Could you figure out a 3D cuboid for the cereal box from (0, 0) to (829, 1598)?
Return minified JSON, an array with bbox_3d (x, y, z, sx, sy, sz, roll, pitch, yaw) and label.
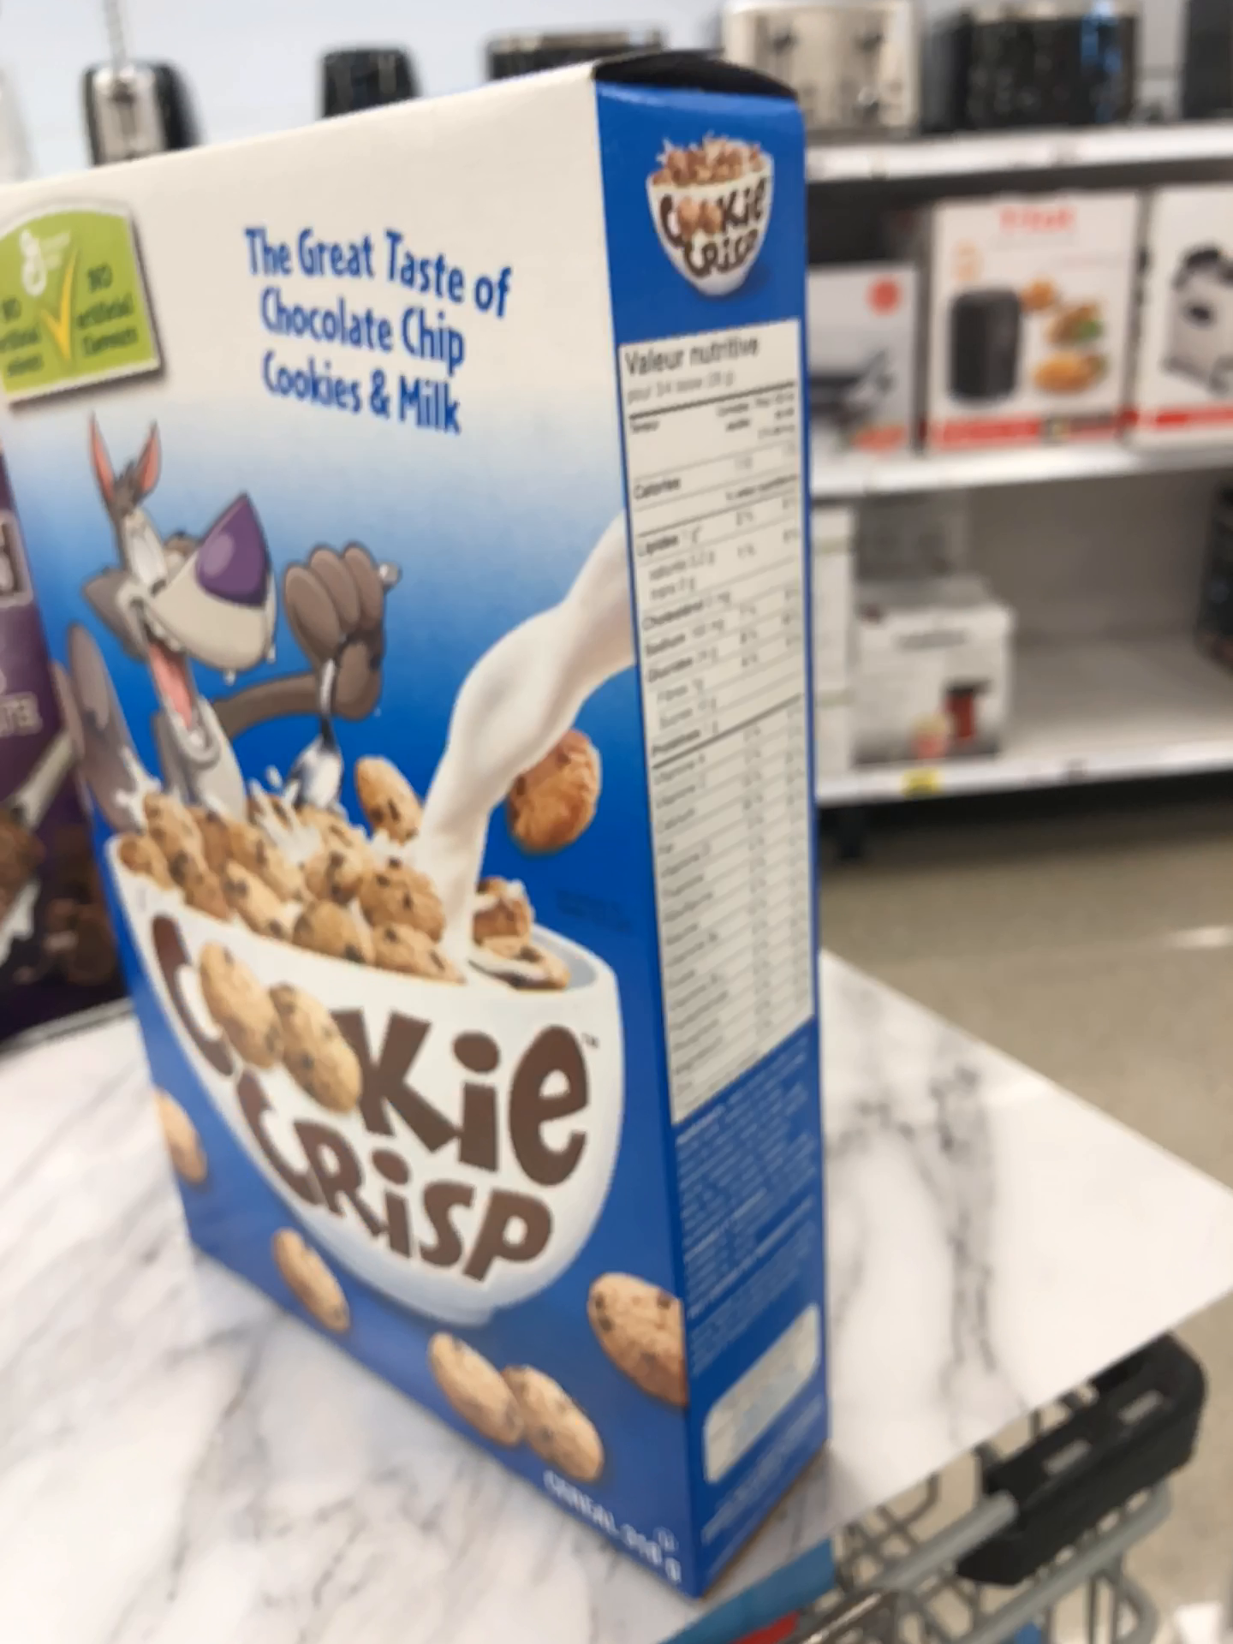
[{"bbox_3d":[-0.059,-0.009,0.298,0.210,0.269,0.050,14,27,39],"label":"cereal box"}]
